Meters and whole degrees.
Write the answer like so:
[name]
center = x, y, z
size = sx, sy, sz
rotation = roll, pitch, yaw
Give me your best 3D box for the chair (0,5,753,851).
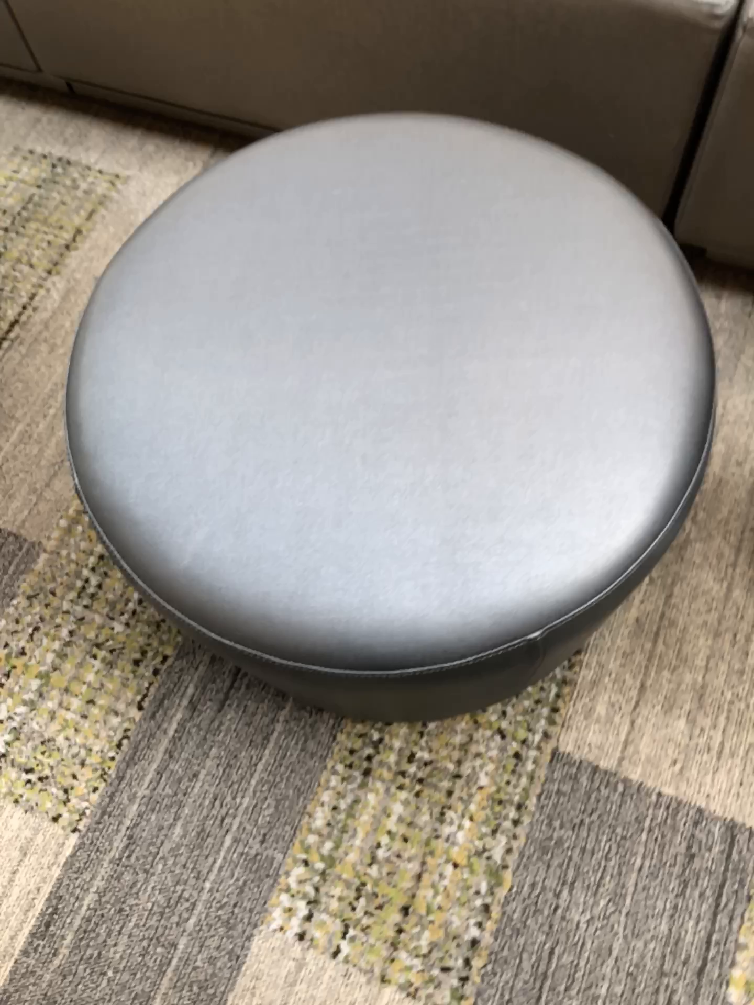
[chair]
center = 0.031, -0.068, 0.894
size = 0.620, 0.459, 0.570
rotation = 23, 68, 15
